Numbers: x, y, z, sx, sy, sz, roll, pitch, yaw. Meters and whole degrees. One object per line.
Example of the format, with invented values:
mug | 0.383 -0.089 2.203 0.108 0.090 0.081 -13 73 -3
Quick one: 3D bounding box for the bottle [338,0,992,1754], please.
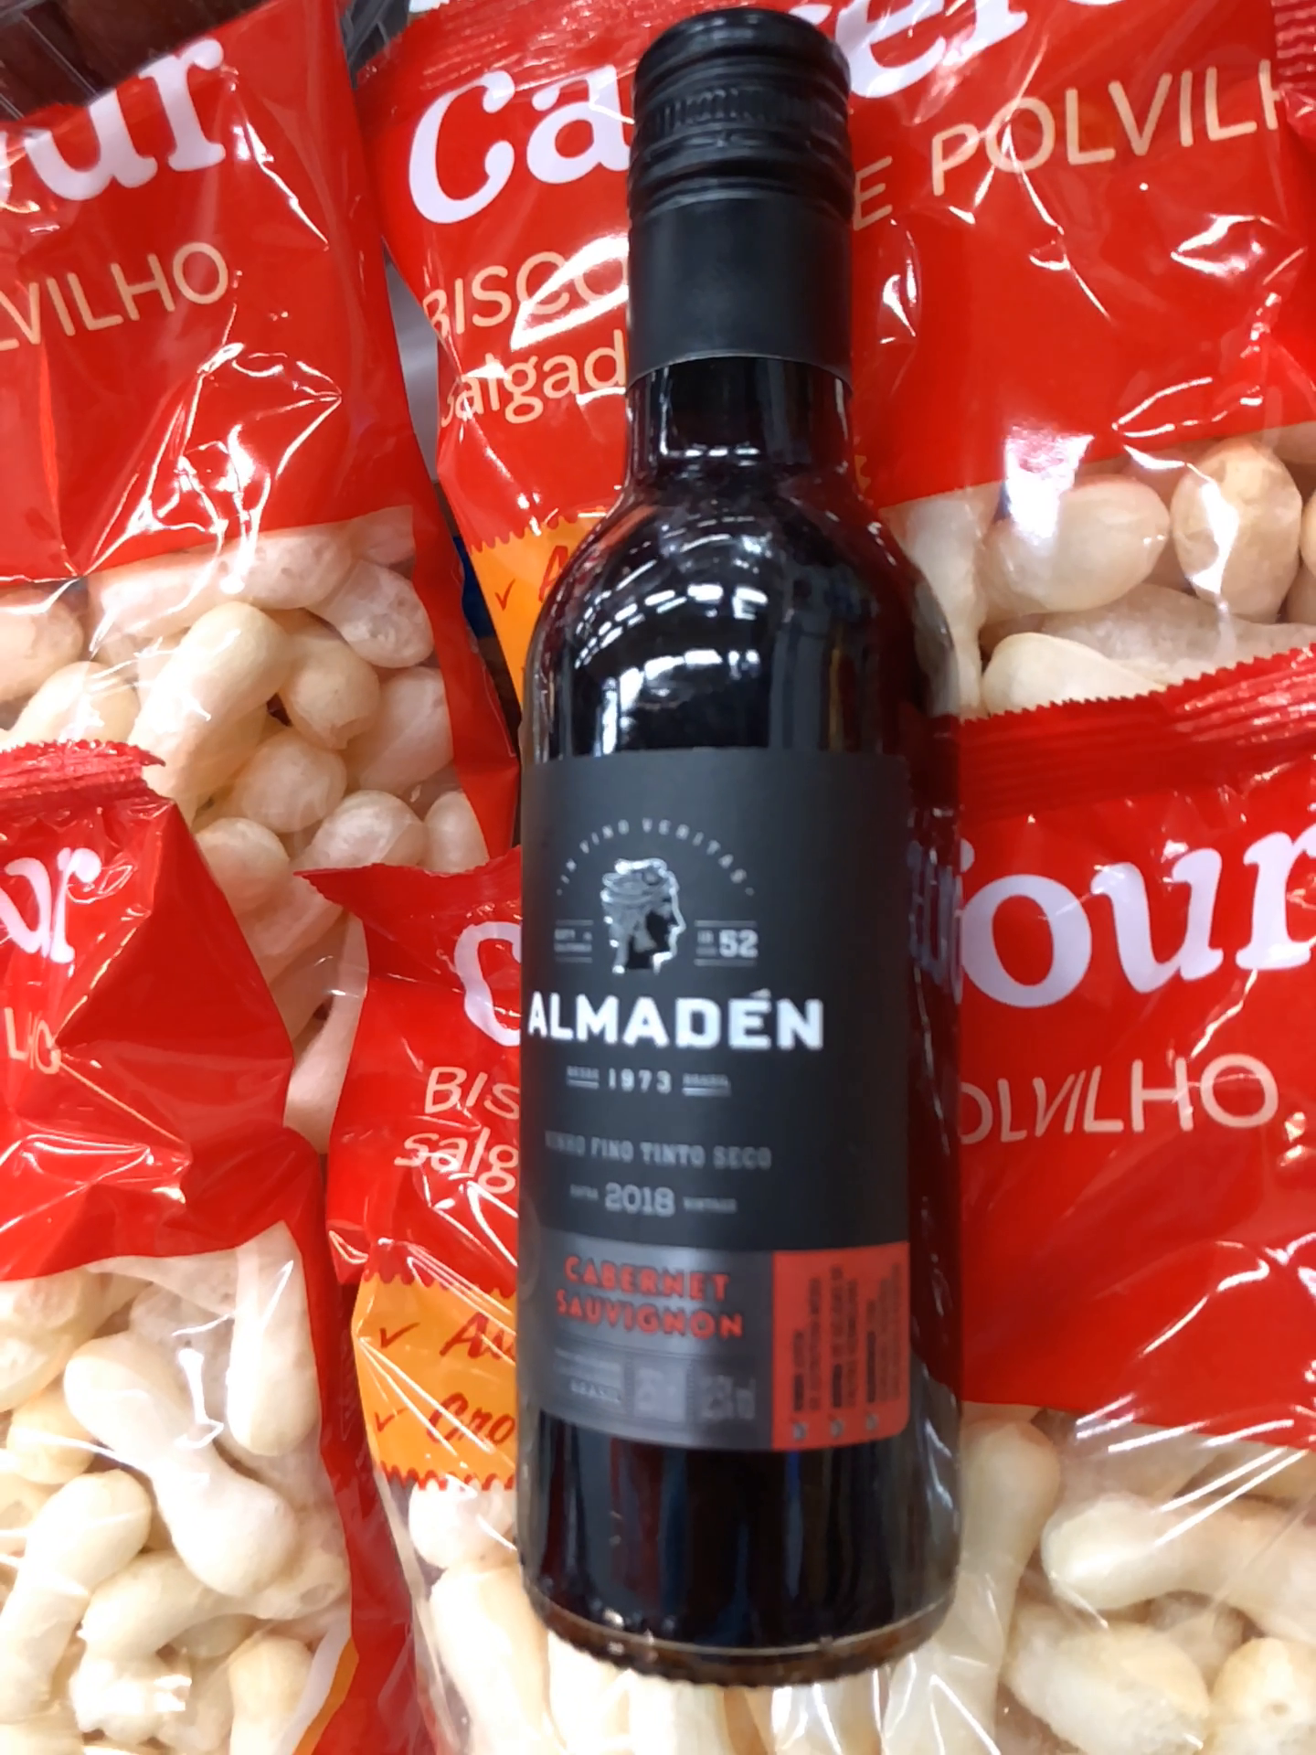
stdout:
bottle | 0.008 -0.023 0.194 0.060 0.060 0.240 -1 82 23
